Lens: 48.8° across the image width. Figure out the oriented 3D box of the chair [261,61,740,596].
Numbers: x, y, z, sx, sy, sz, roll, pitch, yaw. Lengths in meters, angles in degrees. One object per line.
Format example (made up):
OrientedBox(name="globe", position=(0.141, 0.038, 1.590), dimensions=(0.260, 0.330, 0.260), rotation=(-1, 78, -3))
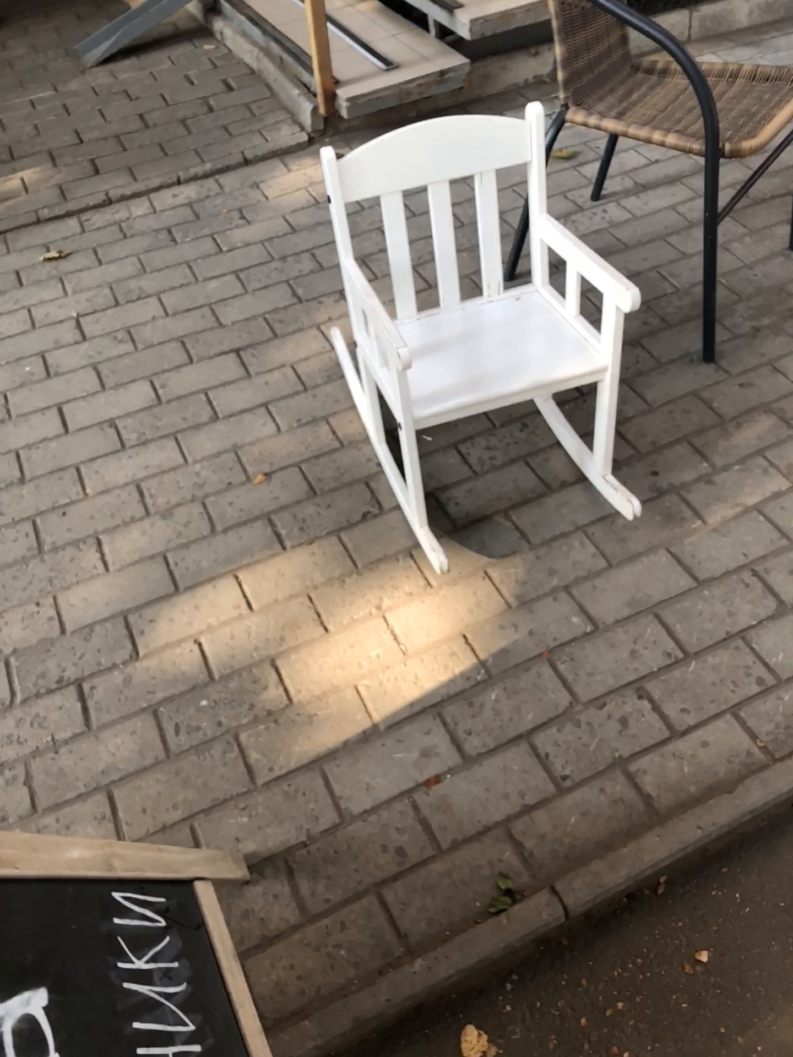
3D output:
OrientedBox(name="chair", position=(0.113, -0.370, 1.462), dimensions=(0.440, 0.458, 0.753), rotation=(-17, 48, -10))
